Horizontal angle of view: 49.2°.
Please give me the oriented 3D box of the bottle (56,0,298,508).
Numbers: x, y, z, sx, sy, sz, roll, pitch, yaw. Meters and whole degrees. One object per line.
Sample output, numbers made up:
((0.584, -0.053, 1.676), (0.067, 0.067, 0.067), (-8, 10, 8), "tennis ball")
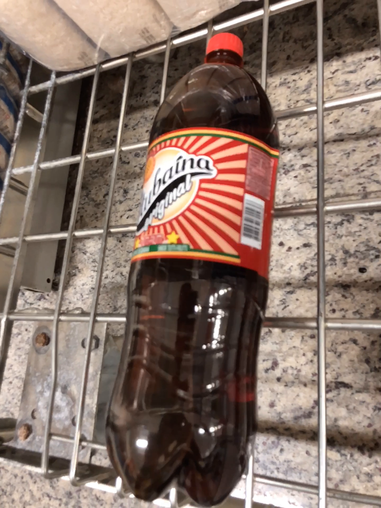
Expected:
((0.001, -0.009, 0.276), (0.110, 0.070, 0.320), (-1, 77, 29), "bottle")
